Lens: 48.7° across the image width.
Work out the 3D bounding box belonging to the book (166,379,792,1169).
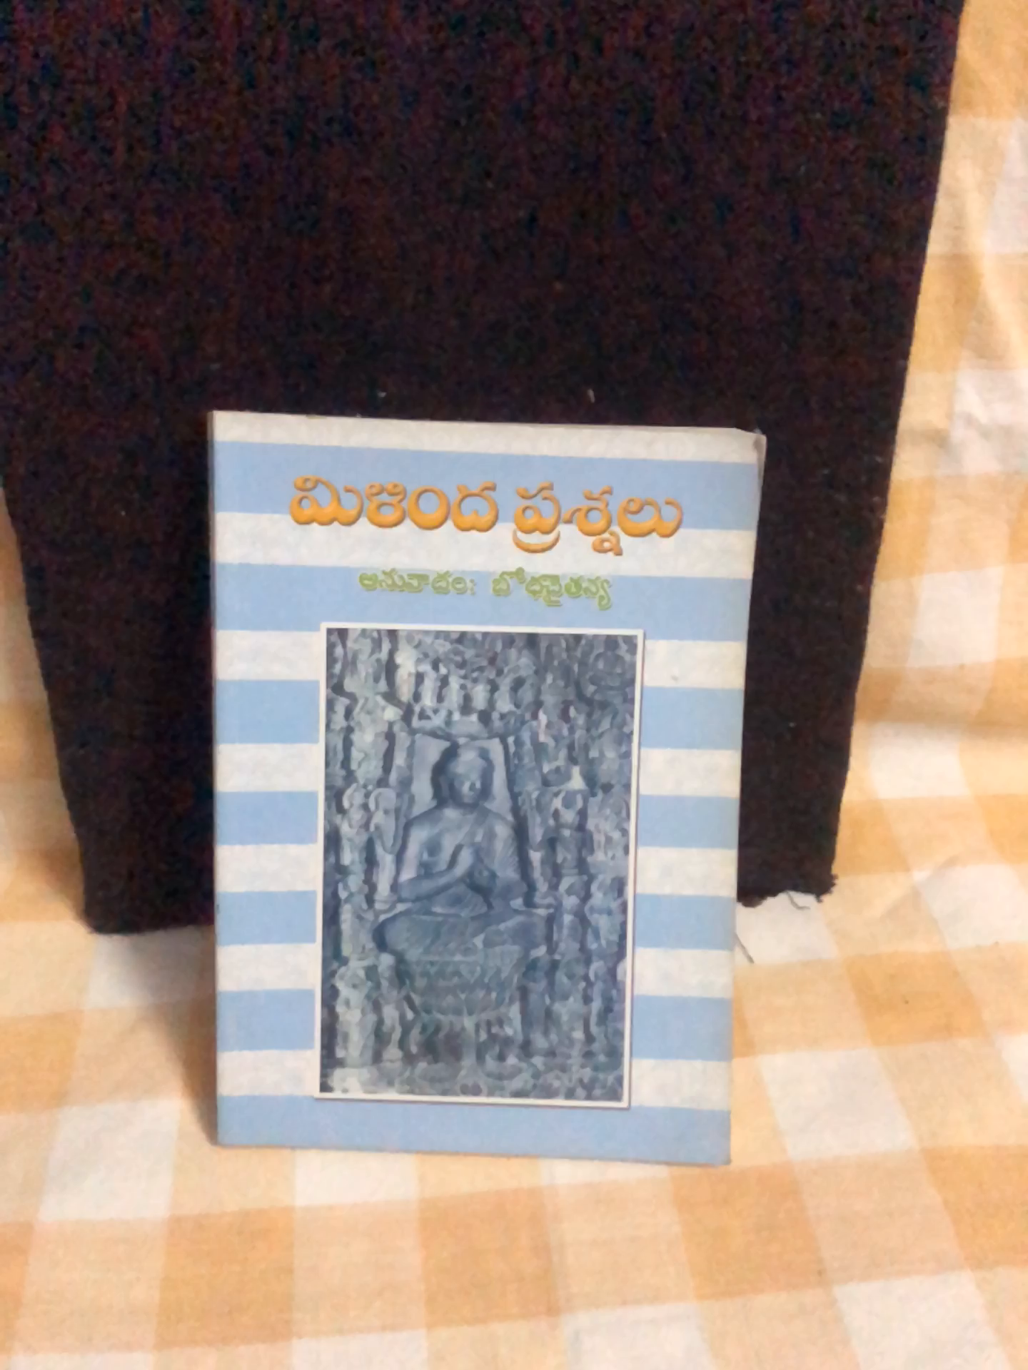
[{"bbox_3d":[-0.012,0.026,0.318,0.160,0.210,0.030,2,7,0],"label":"book"}]
